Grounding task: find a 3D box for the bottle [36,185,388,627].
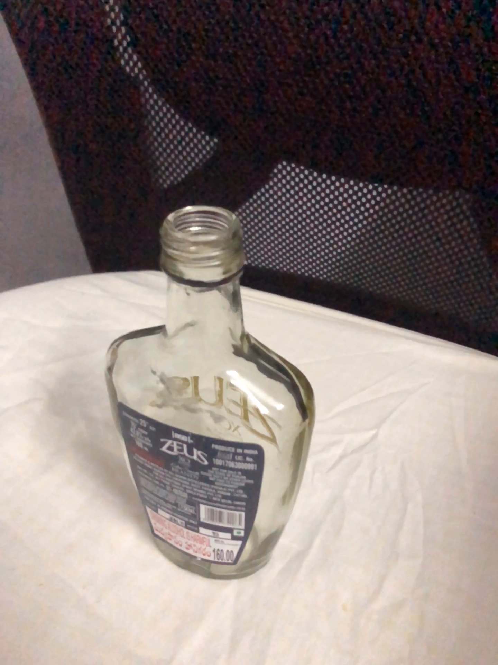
[{"bbox_3d":[-0.011,0.036,0.213,0.090,0.159,0.050,15,42,16],"label":"bottle"}]
